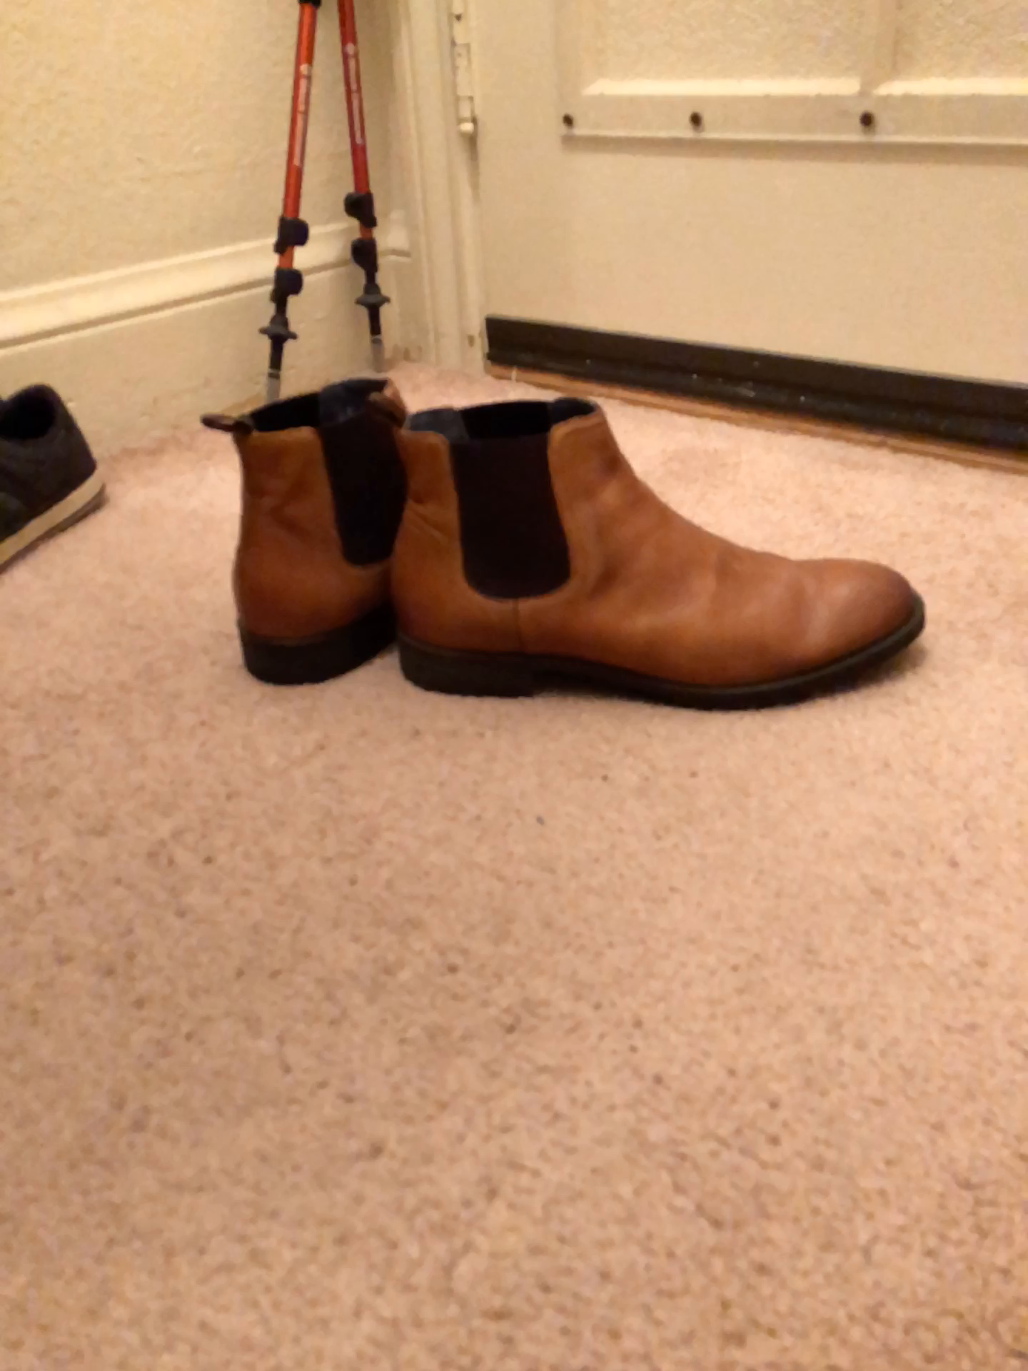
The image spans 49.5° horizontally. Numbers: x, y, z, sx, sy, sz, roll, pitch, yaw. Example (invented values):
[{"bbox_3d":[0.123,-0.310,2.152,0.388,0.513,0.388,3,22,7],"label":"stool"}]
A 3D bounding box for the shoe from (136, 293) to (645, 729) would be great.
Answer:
[{"bbox_3d":[-0.055,-0.128,0.713,0.109,0.165,0.313,23,40,37],"label":"shoe"}]

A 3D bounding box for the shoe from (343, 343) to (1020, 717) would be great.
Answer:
[{"bbox_3d":[0.083,-0.085,0.608,0.312,0.165,0.110,1,31,7],"label":"shoe"}]
